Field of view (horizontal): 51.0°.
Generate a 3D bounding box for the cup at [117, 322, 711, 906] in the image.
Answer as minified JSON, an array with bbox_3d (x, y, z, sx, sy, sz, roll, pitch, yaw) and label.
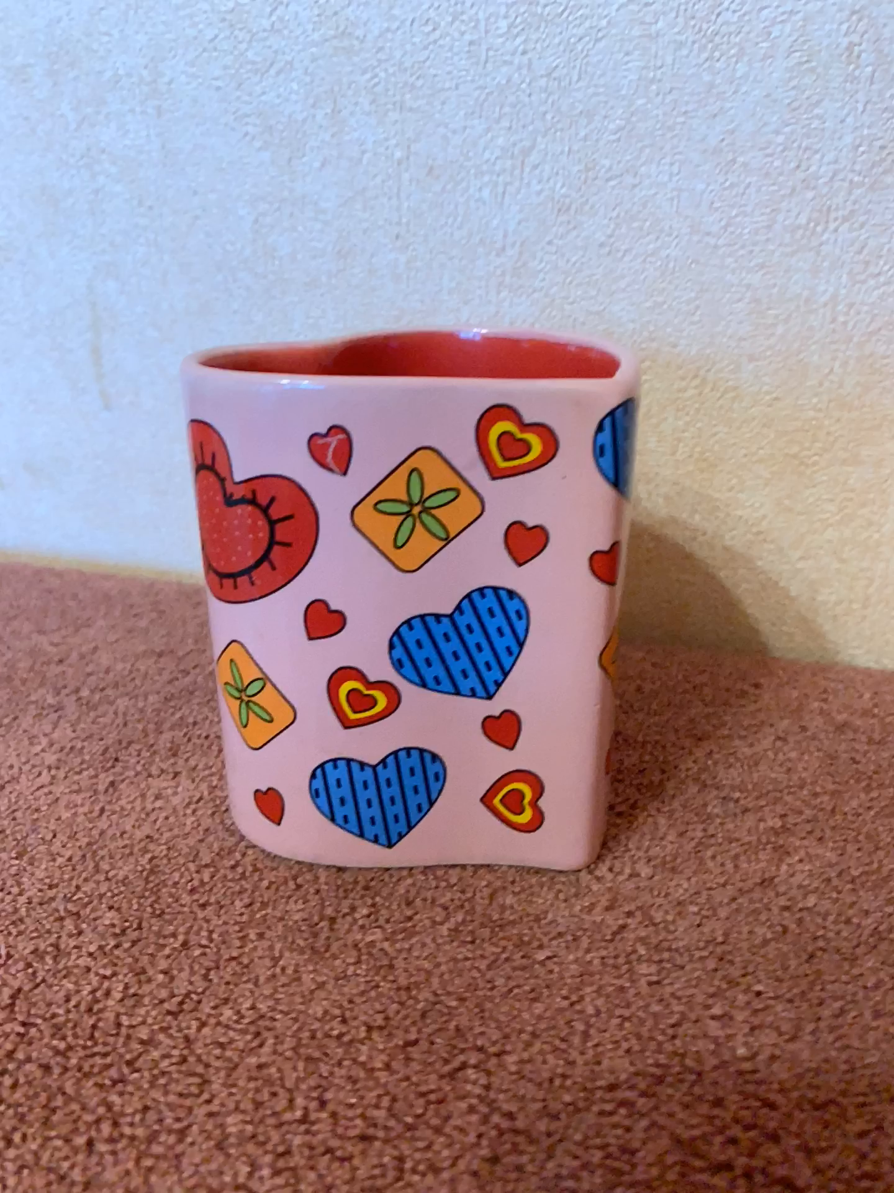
[{"bbox_3d":[-0.006,-0.004,0.188,0.085,0.091,0.083,0,21,0],"label":"cup"}]
